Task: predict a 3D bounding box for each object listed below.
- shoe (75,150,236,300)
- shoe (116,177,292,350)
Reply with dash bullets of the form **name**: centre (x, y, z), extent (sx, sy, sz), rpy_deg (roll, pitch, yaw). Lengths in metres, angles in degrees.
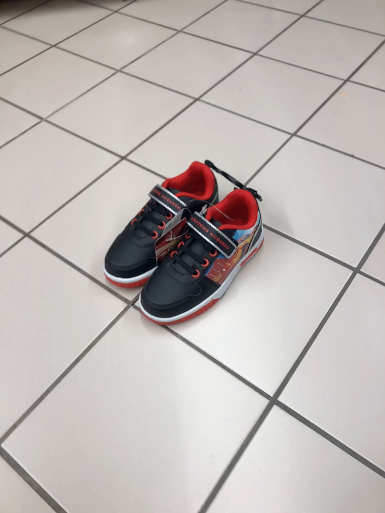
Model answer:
- **shoe**: centre (-0.039, -0.048, 0.552), extent (0.080, 0.053, 0.210), rpy_deg (33, 60, 26)
- **shoe**: centre (0.020, -0.001, 0.512), extent (0.094, 0.053, 0.207), rpy_deg (33, 60, 26)
